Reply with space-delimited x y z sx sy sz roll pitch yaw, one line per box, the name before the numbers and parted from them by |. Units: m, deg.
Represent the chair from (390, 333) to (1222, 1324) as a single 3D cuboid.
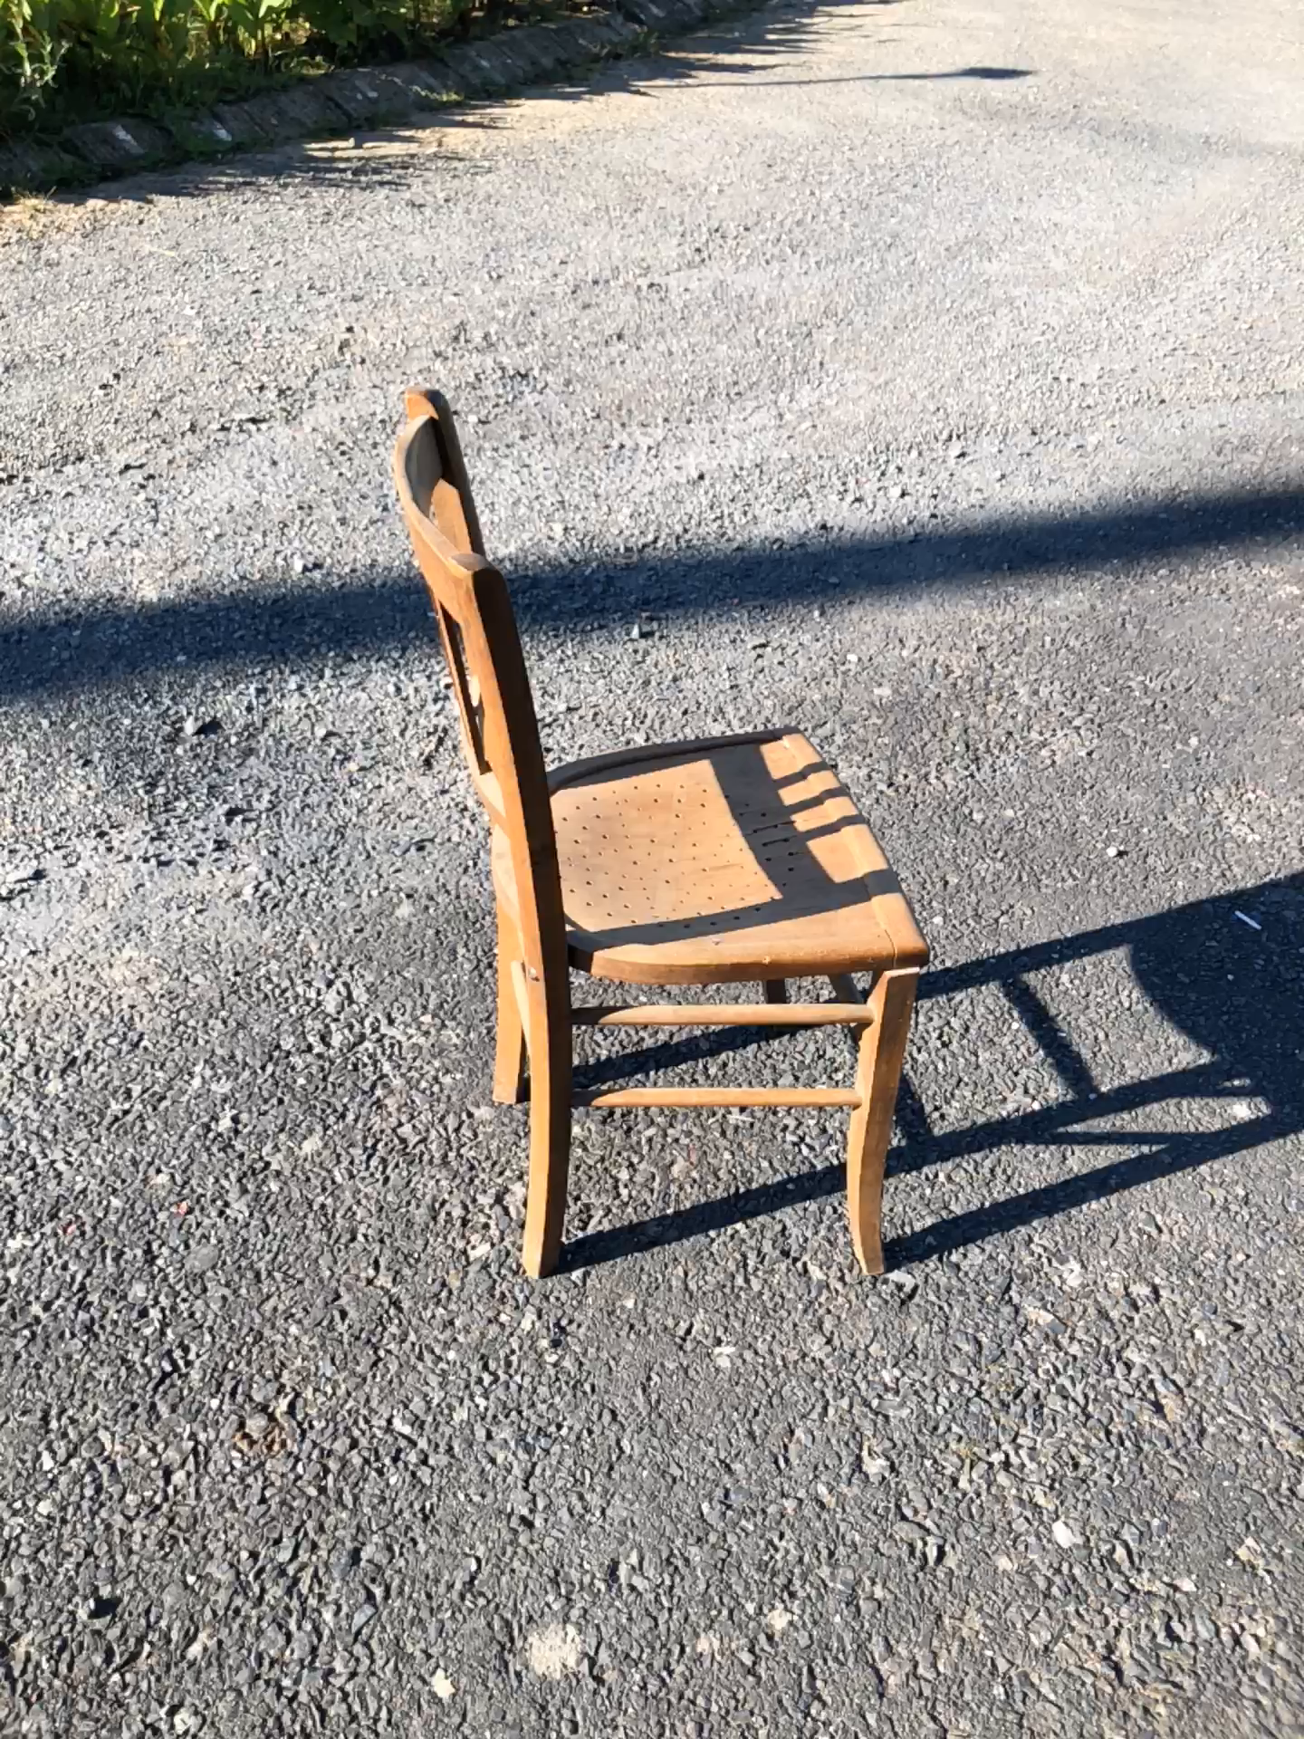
chair | 0.044 -0.033 1.336 0.541 0.736 0.492 -1 36 -13
